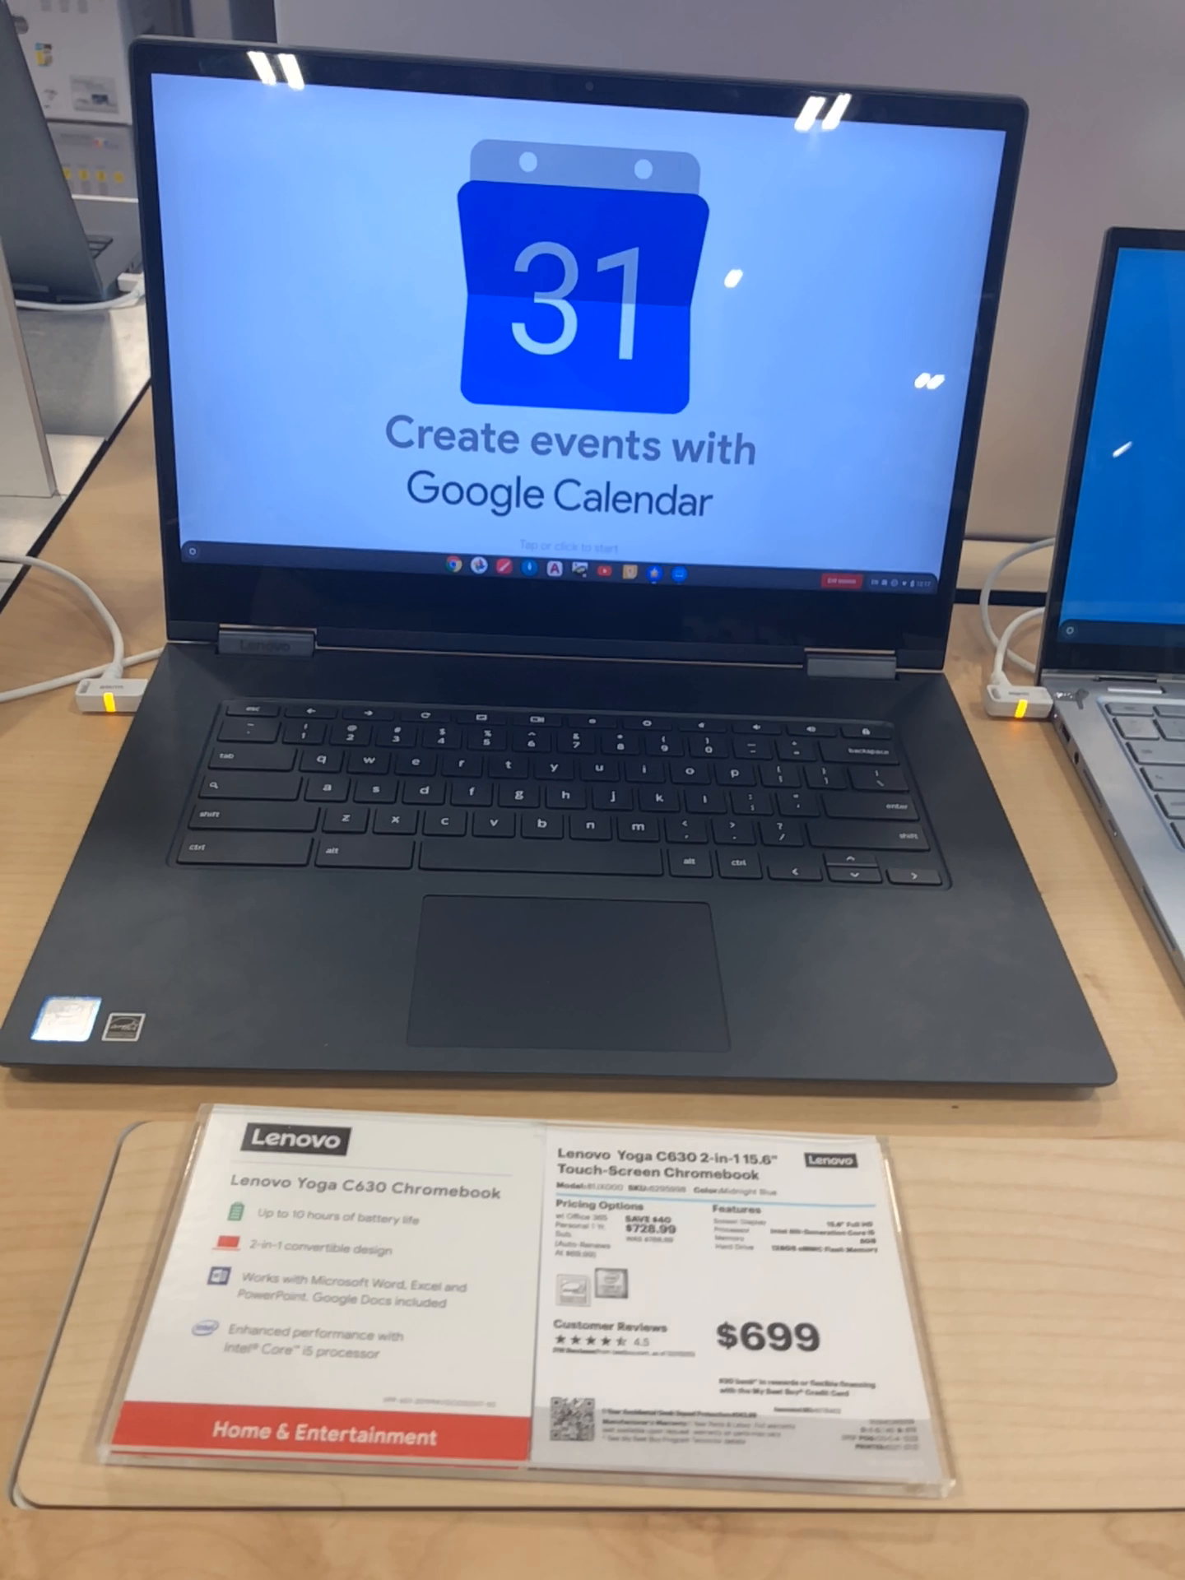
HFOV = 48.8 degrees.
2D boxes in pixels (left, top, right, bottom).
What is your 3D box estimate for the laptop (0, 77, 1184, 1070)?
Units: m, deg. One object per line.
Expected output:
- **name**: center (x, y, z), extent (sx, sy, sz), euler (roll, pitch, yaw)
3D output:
- **laptop**: center (0.003, -0.091, 0.455), extent (0.343, 0.230, 0.293), euler (2, 37, -2)
